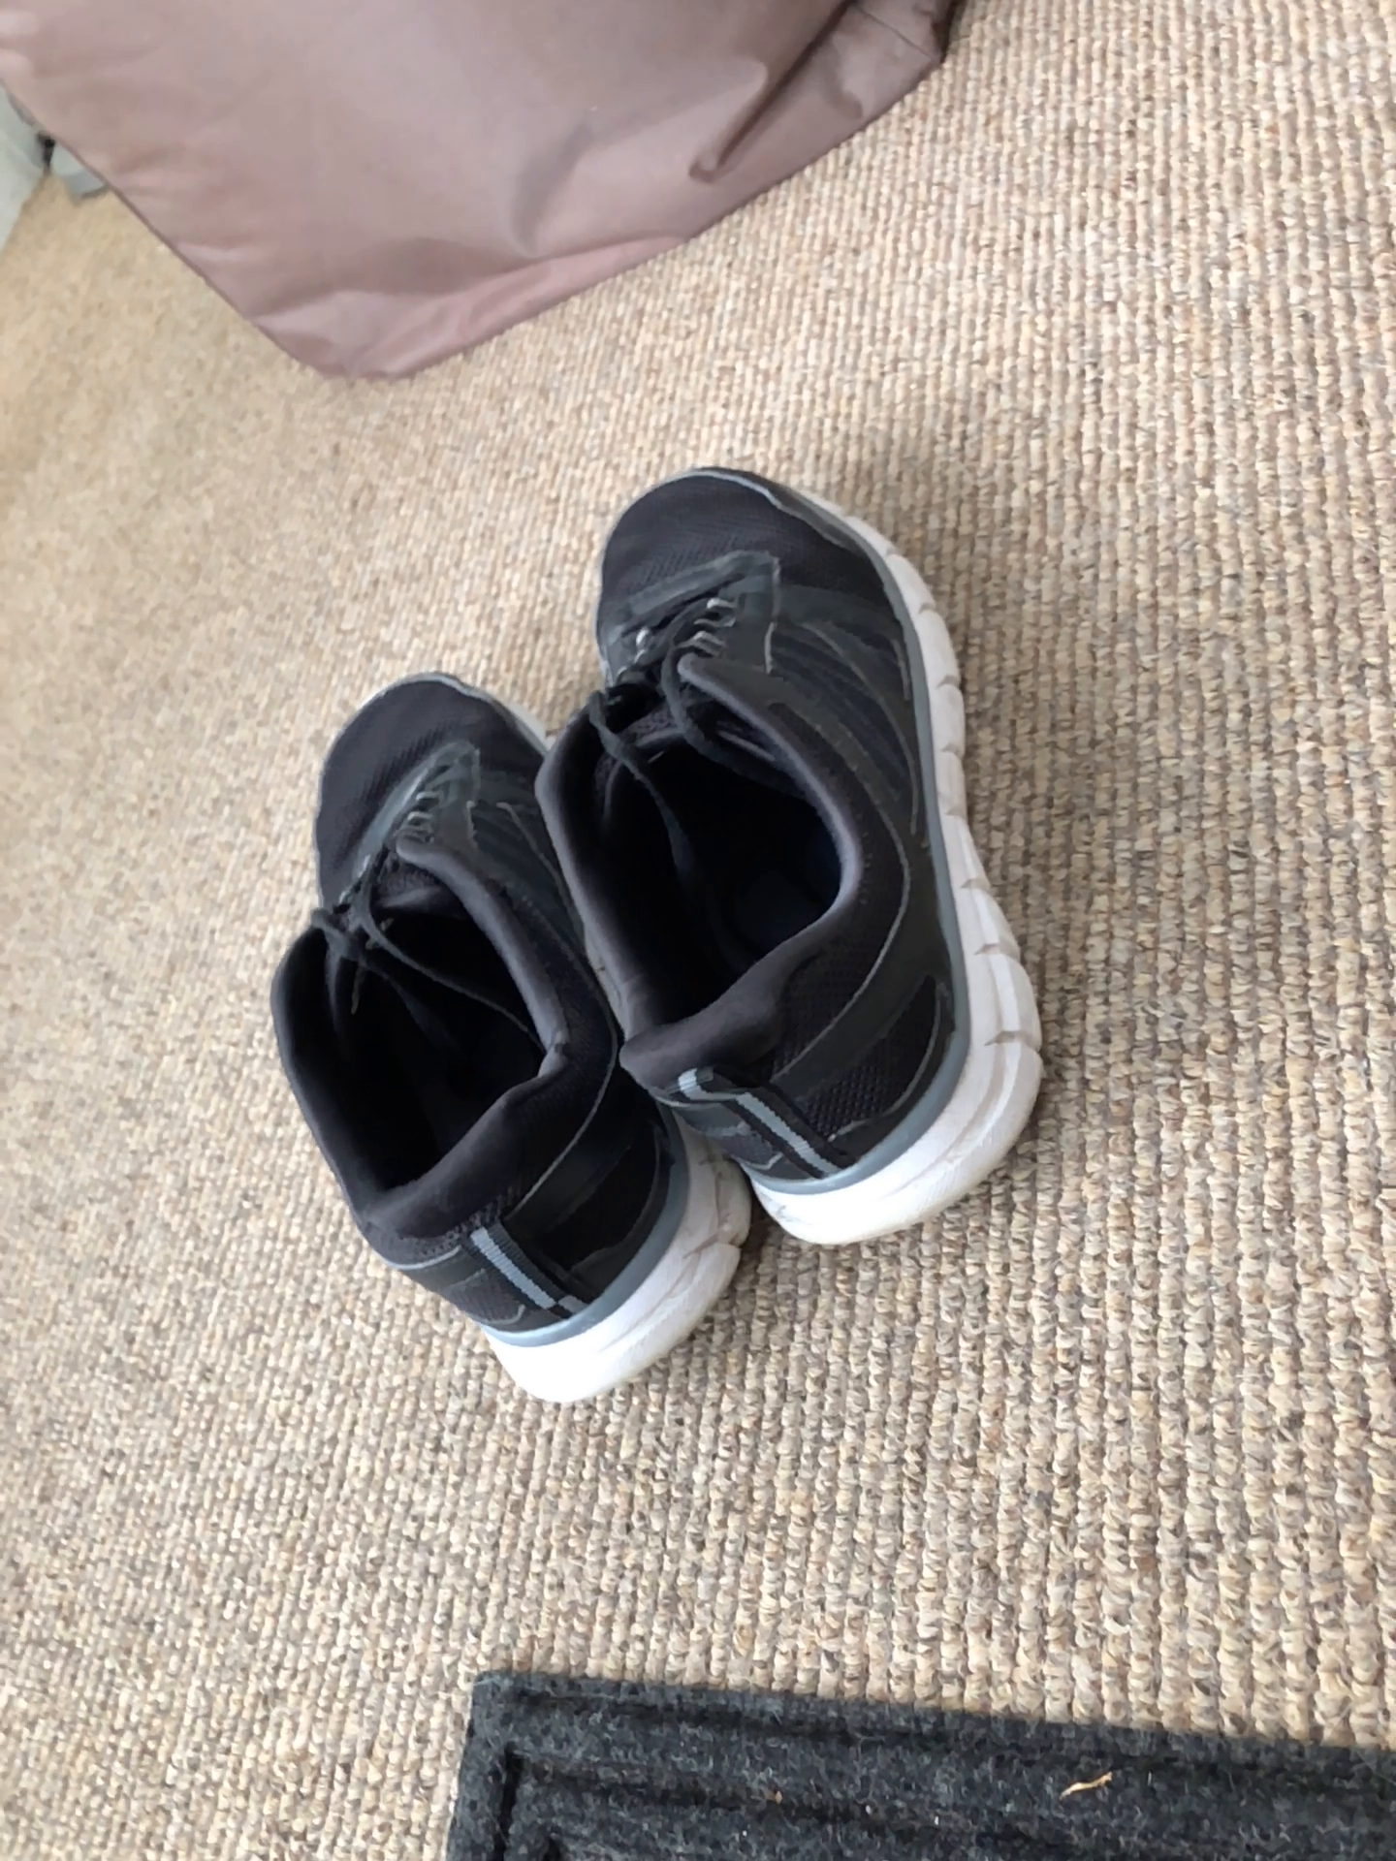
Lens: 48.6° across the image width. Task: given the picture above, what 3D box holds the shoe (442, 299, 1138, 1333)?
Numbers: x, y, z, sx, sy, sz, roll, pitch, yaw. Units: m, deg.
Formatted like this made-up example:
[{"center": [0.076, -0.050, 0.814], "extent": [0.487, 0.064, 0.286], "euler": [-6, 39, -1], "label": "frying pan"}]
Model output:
[{"center": [0.011, -0.045, 0.462], "extent": [0.120, 0.110, 0.277], "euler": [-28, 47, 19], "label": "shoe"}]

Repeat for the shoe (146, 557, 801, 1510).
[{"center": [-0.087, 0.017, 0.493], "extent": [0.118, 0.100, 0.277], "euler": [-36, 45, 11], "label": "shoe"}]
